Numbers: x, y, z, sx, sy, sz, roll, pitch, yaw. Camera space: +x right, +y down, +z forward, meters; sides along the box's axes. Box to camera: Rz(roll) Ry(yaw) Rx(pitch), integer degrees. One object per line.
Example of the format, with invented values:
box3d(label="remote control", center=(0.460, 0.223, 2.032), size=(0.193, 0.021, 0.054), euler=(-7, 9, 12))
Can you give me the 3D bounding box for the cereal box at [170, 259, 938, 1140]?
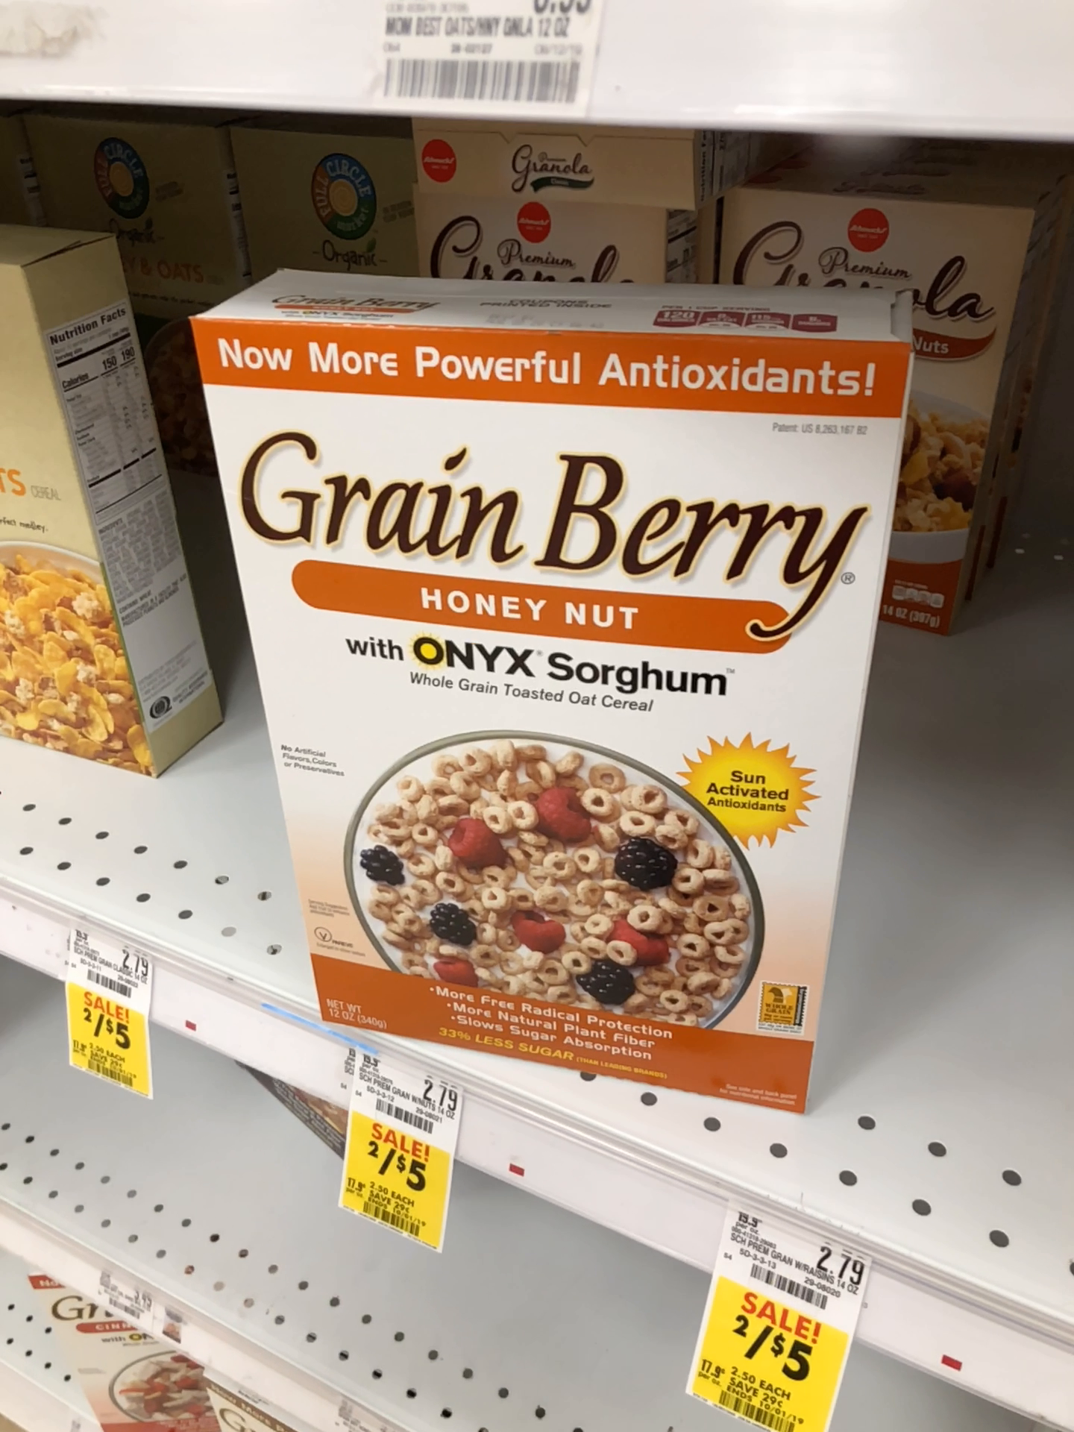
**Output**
box3d(label="cereal box", center=(0.011, 0.005, 0.407), size=(0.200, 0.289, 0.070), euler=(7, 35, 13))
